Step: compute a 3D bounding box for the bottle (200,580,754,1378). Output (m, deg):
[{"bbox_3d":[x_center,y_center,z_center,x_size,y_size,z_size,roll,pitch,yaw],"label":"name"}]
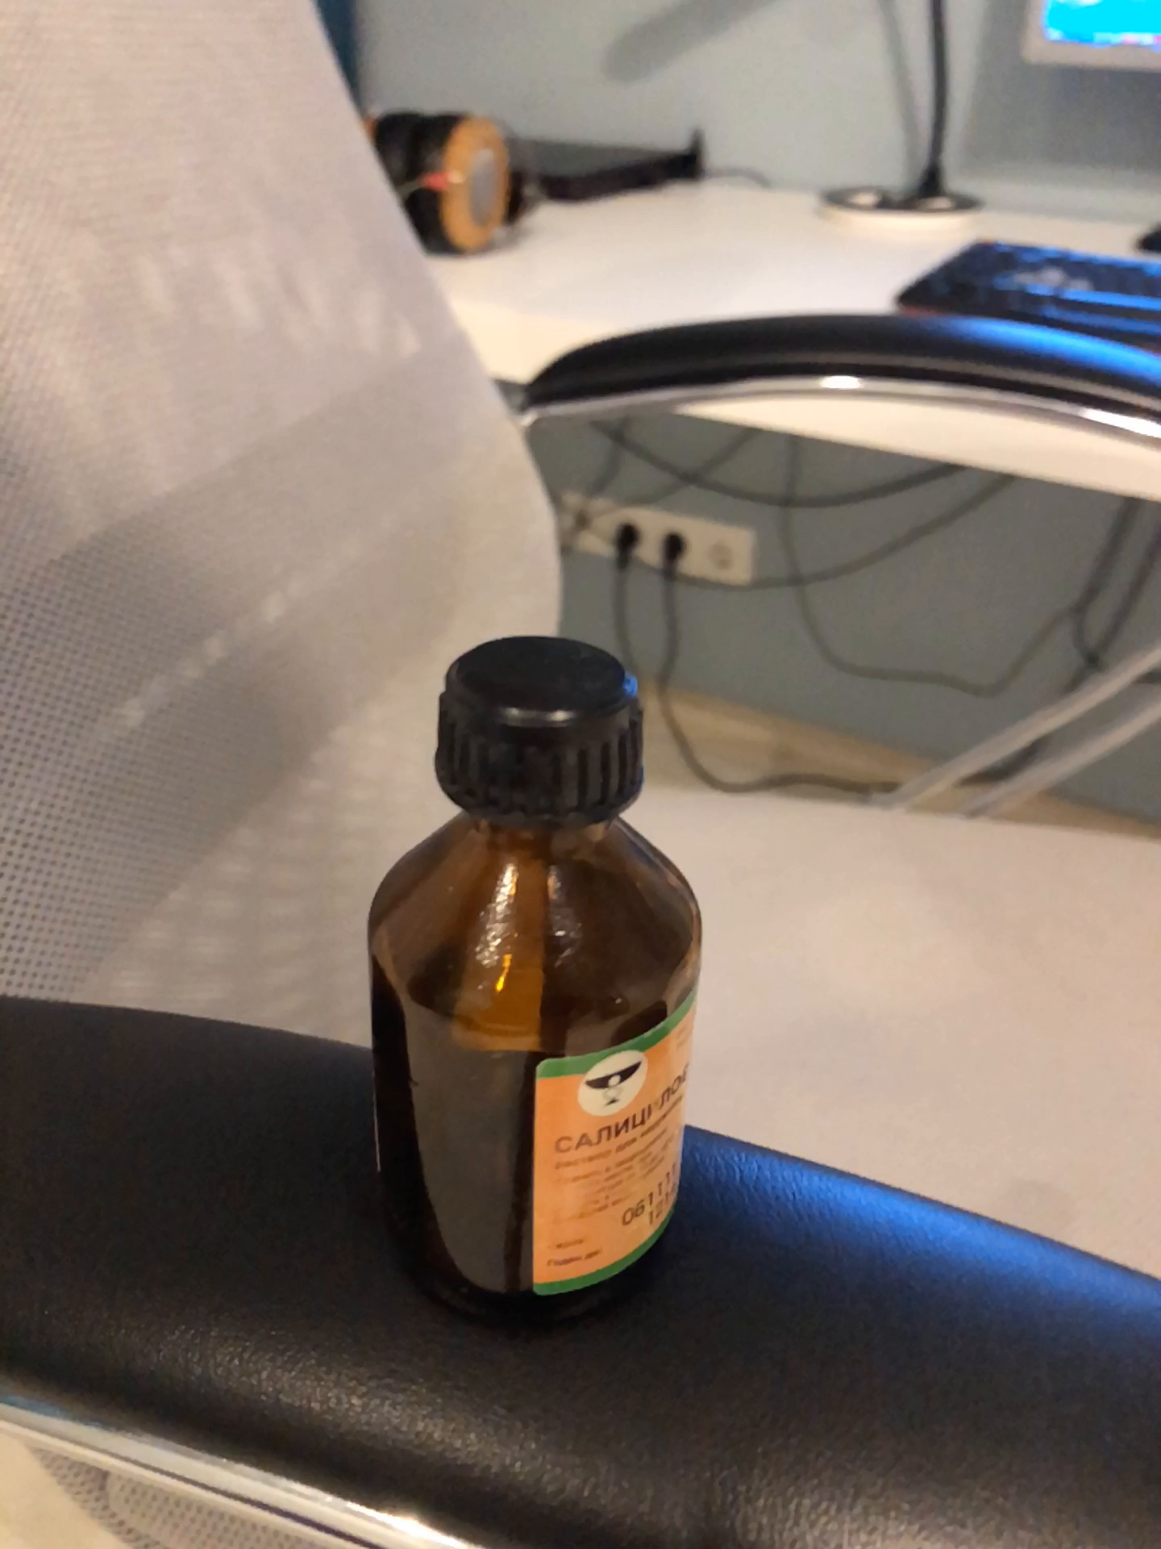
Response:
[{"bbox_3d":[-0.009,0.025,0.170,0.050,0.083,0.050,0,31,0],"label":"bottle"}]
